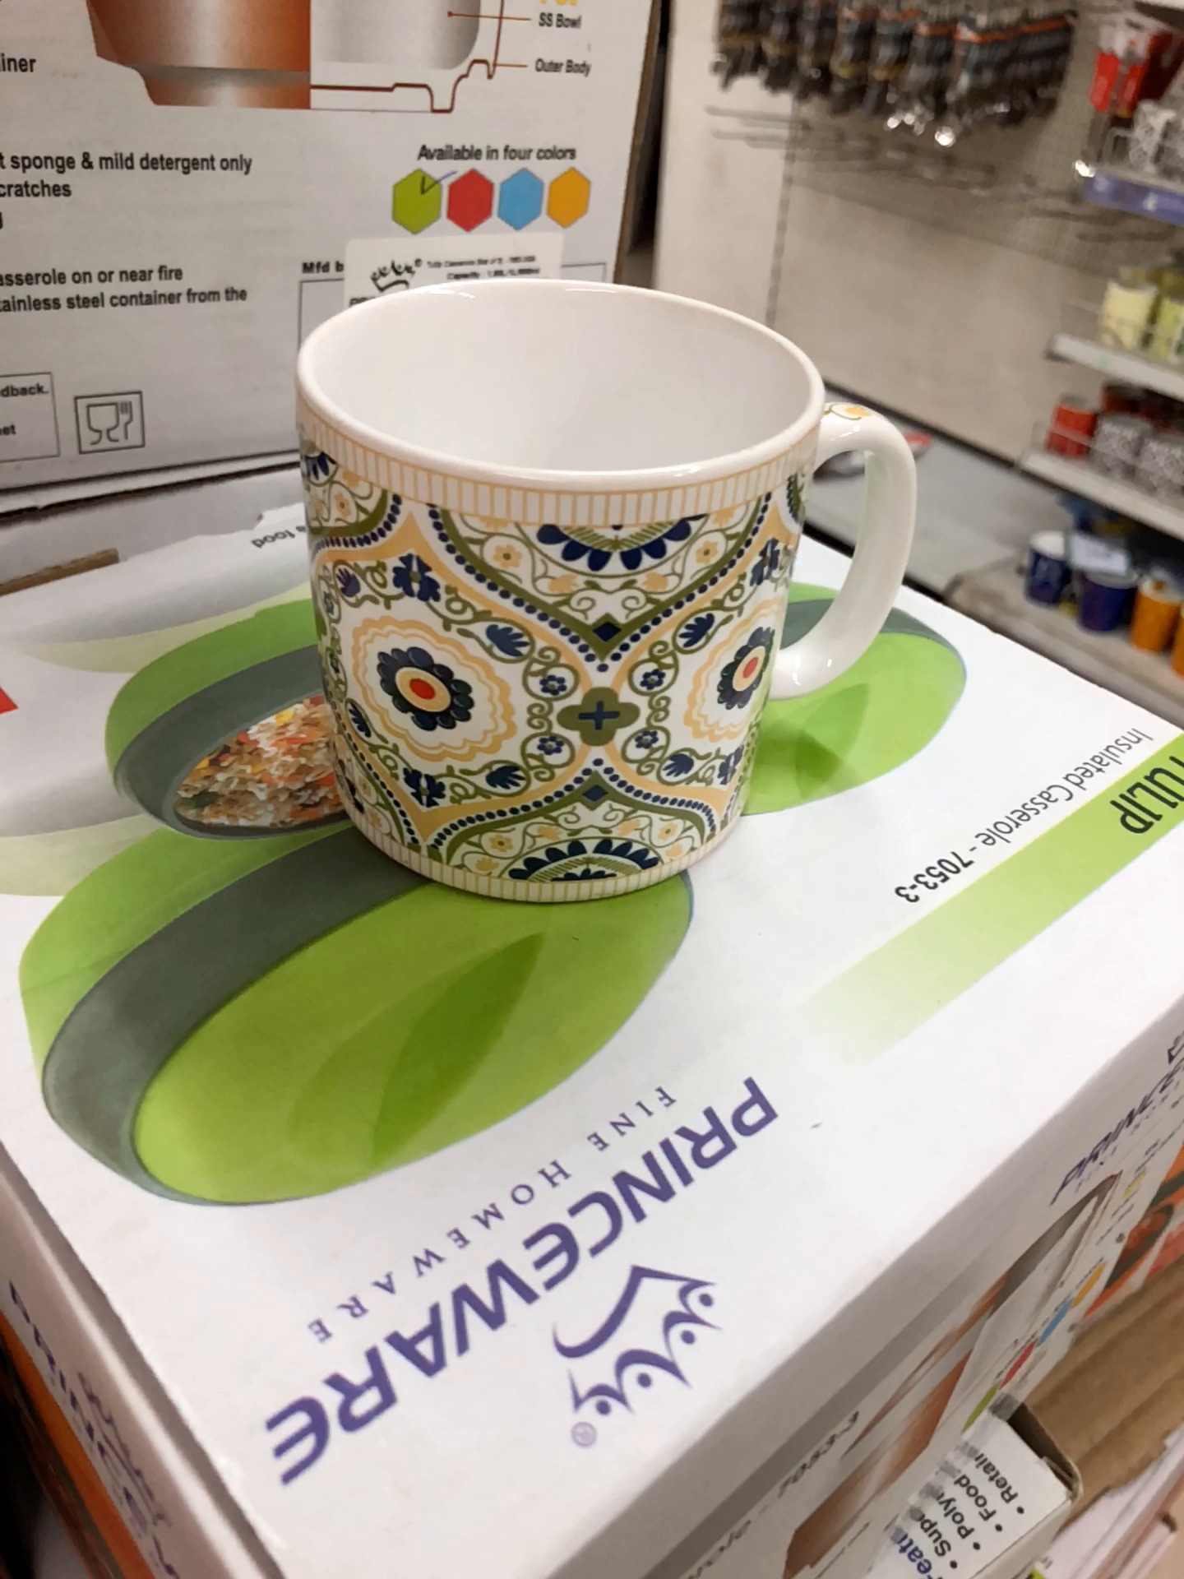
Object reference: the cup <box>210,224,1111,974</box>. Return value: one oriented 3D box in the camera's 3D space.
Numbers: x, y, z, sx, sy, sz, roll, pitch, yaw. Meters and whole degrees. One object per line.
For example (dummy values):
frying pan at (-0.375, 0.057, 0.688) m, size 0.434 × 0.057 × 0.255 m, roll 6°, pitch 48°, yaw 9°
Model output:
cup at (0.007, -0.037, 0.214) m, size 0.110 × 0.079 × 0.070 m, roll -14°, pitch 39°, yaw -22°
